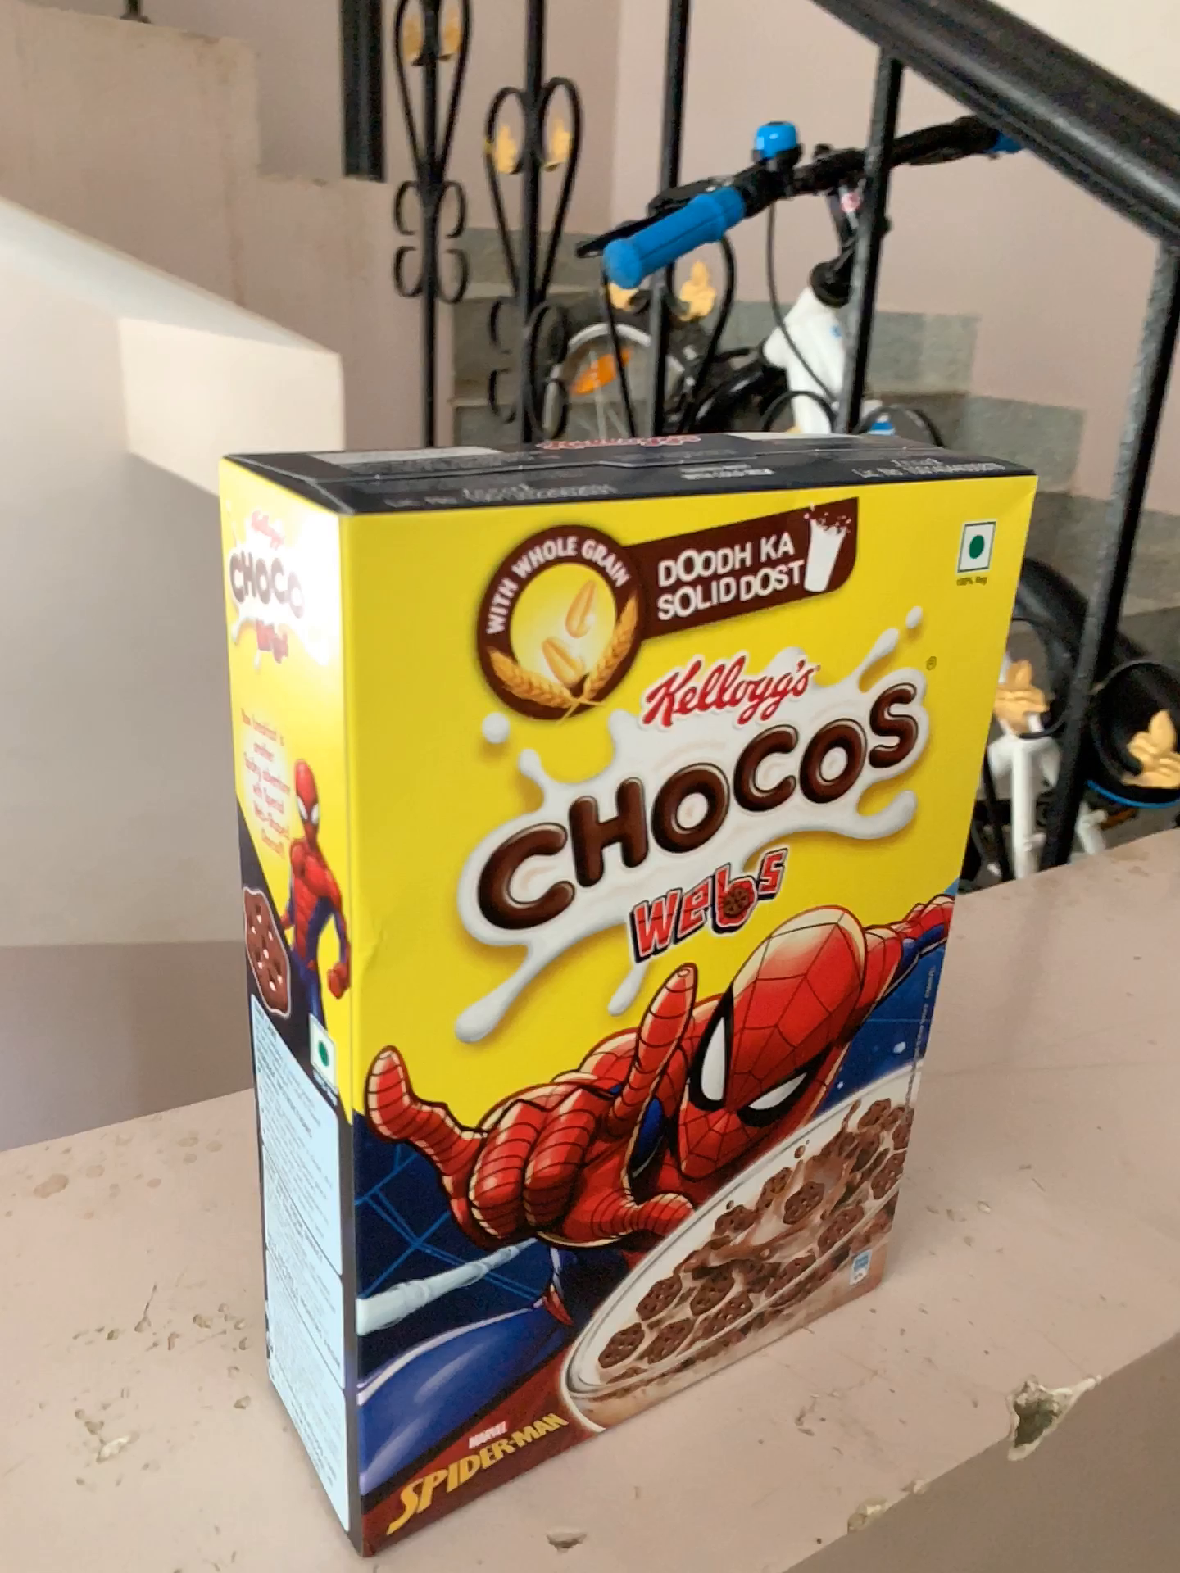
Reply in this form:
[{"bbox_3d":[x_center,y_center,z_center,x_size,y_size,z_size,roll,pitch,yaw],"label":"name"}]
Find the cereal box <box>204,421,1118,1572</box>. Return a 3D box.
[{"bbox_3d":[0.017,0.043,0.306,0.190,0.248,0.070,-11,26,-31],"label":"cereal box"}]
